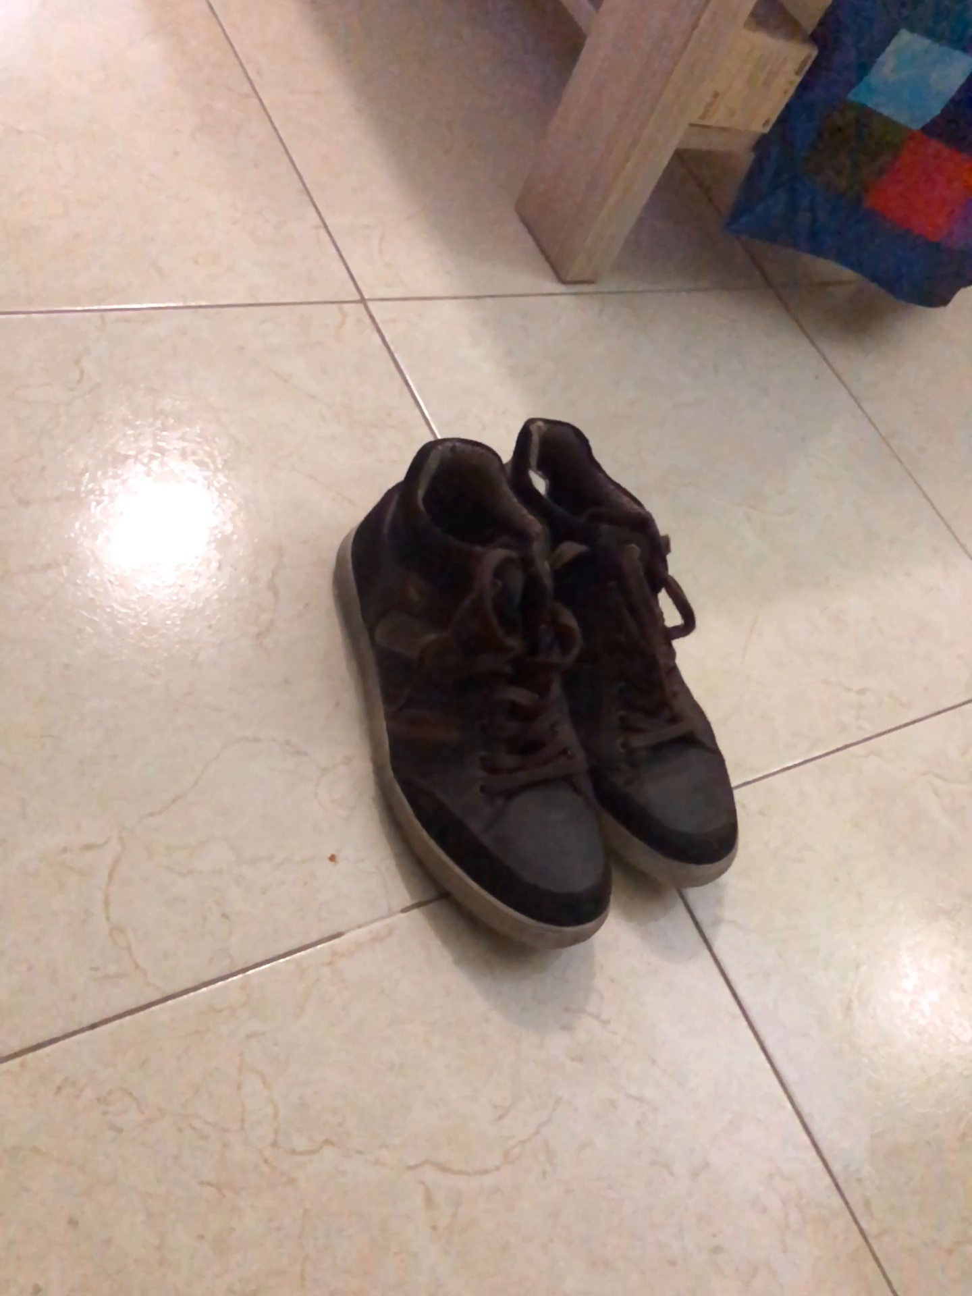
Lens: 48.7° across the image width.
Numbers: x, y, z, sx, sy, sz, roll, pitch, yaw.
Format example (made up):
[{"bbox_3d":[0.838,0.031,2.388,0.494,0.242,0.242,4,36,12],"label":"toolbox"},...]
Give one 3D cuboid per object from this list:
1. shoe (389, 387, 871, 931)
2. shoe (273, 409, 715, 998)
[{"bbox_3d":[0.075,-0.003,0.658,0.120,0.110,0.300,-18,67,-33],"label":"shoe"},{"bbox_3d":[-0.011,0.018,0.602,0.120,0.110,0.300,-8,62,-29],"label":"shoe"}]
